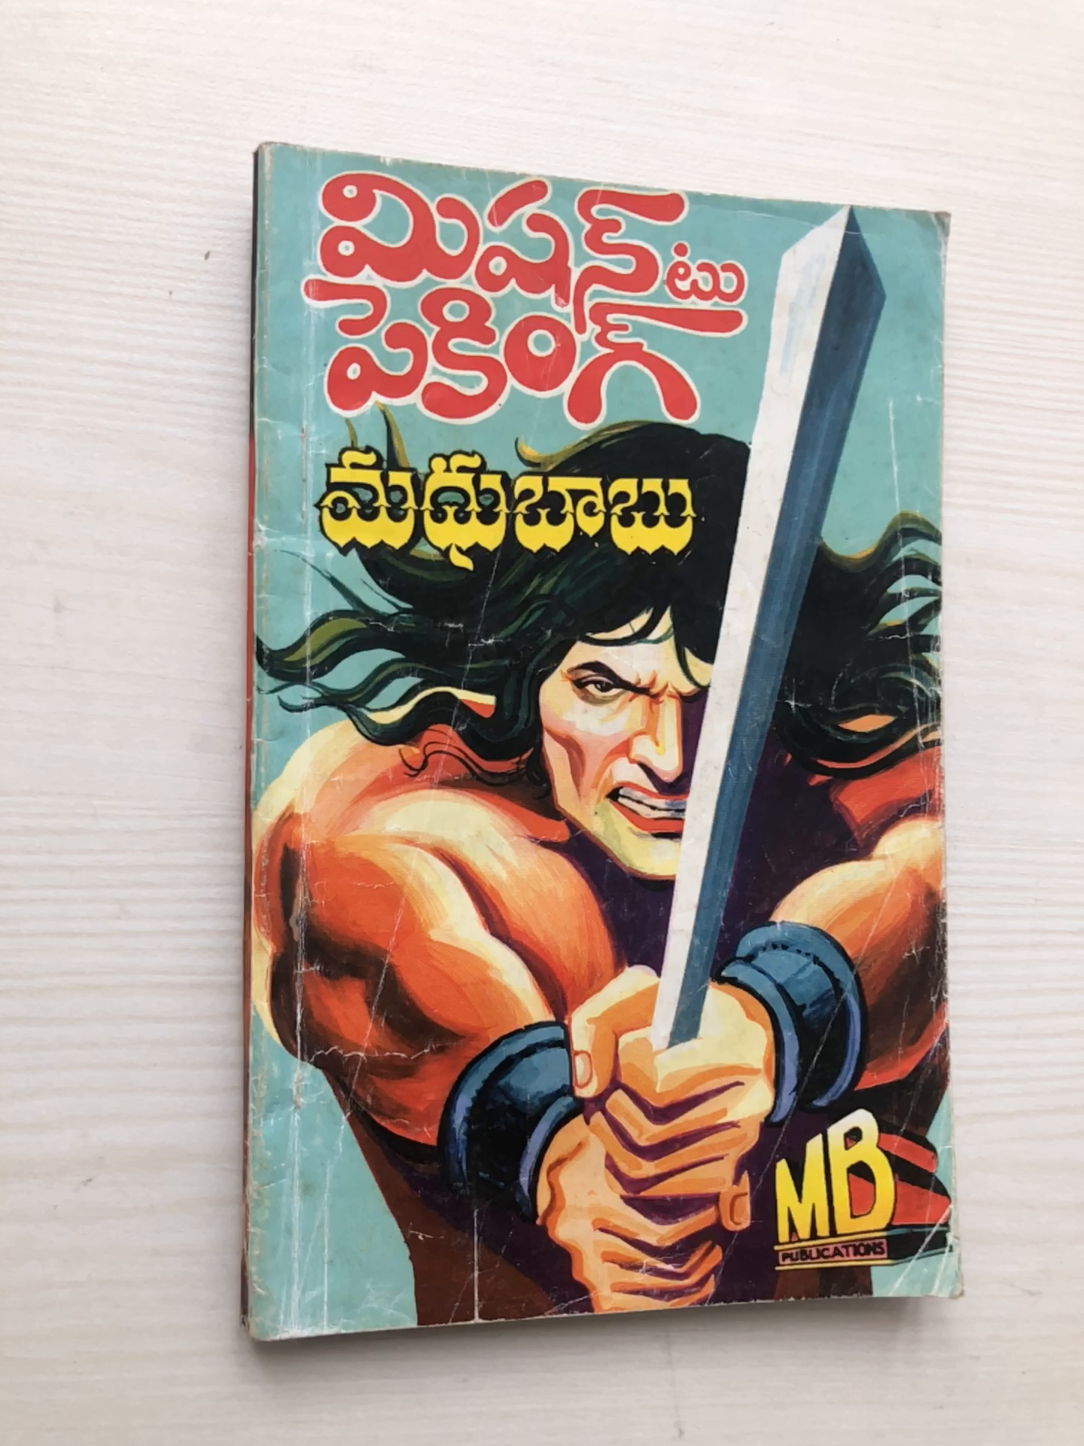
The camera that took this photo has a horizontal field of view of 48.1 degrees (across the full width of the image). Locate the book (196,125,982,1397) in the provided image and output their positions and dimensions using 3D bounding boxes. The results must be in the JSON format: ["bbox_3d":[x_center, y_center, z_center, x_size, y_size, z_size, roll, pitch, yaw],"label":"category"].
[{"bbox_3d":[0.007,0.004,0.167,0.100,0.030,0.150,1,89,-11],"label":"book"}]
